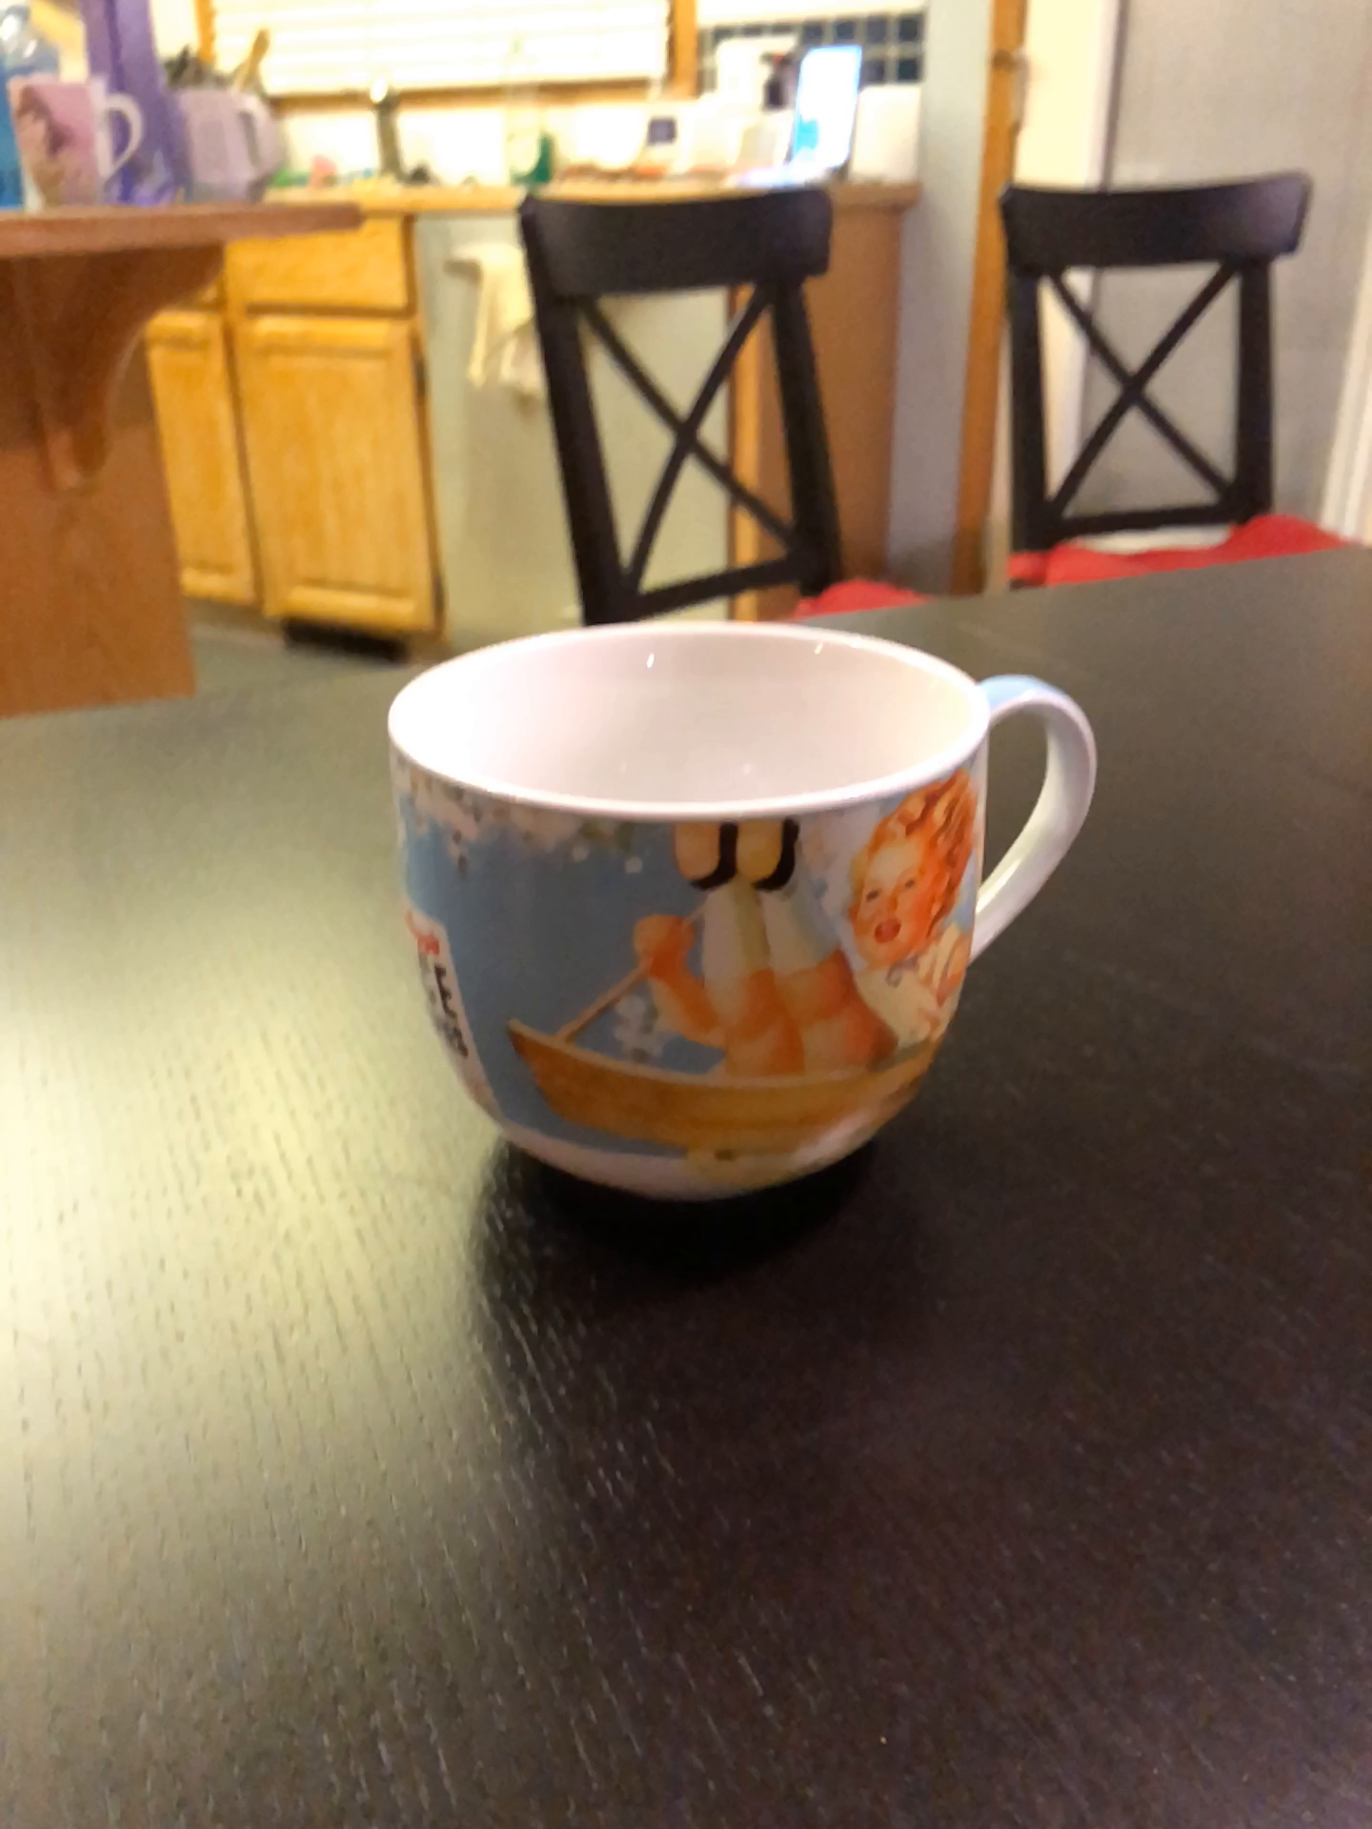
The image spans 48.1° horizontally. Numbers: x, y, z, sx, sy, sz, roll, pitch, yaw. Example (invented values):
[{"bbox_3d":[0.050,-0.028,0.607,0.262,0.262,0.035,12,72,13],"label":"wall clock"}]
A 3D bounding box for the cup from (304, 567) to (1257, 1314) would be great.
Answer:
[{"bbox_3d":[0.011,-0.009,0.320,0.150,0.090,0.121,-10,27,-20],"label":"cup"}]
